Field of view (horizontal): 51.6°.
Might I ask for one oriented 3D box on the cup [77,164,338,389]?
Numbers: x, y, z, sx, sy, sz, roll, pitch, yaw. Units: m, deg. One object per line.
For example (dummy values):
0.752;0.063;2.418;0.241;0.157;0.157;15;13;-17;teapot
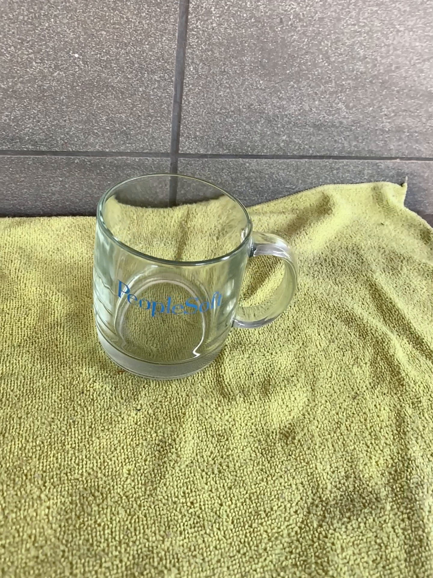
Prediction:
-0.011;-0.005;0.266;0.120;0.100;0.080;2;42;-8;cup
